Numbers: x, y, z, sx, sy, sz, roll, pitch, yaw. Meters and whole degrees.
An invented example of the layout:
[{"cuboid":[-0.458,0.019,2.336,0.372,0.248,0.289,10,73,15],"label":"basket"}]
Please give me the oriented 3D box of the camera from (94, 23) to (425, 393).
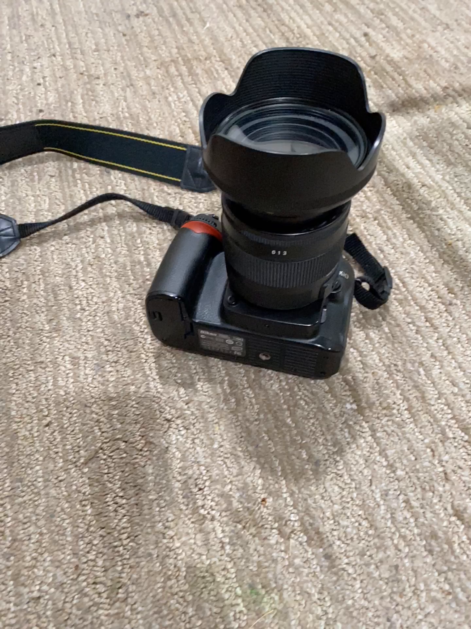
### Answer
[{"cuboid":[0.019,-0.057,0.296,0.138,0.165,0.115,12,52,8],"label":"camera"}]
